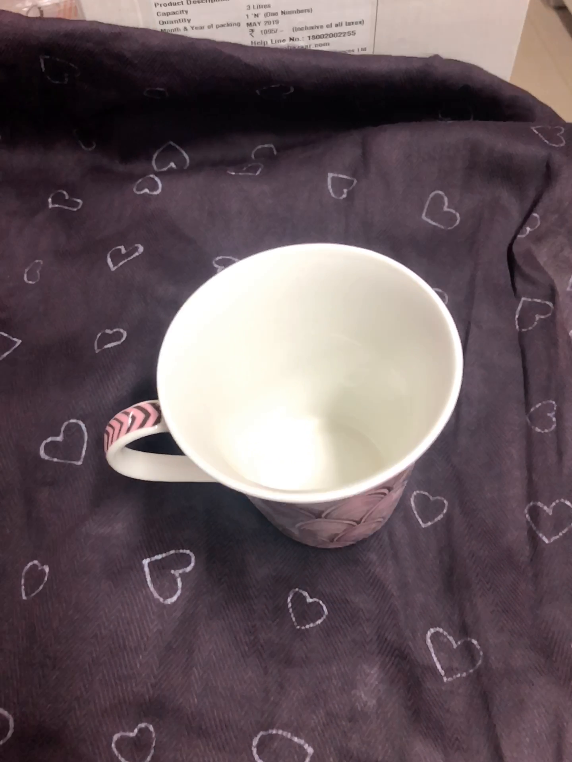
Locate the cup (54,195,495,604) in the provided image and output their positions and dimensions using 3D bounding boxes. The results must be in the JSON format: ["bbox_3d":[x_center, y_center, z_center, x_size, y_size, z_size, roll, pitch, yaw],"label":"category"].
[{"bbox_3d":[-0.006,0.013,0.237,0.120,0.100,0.090,-13,59,0],"label":"cup"}]
